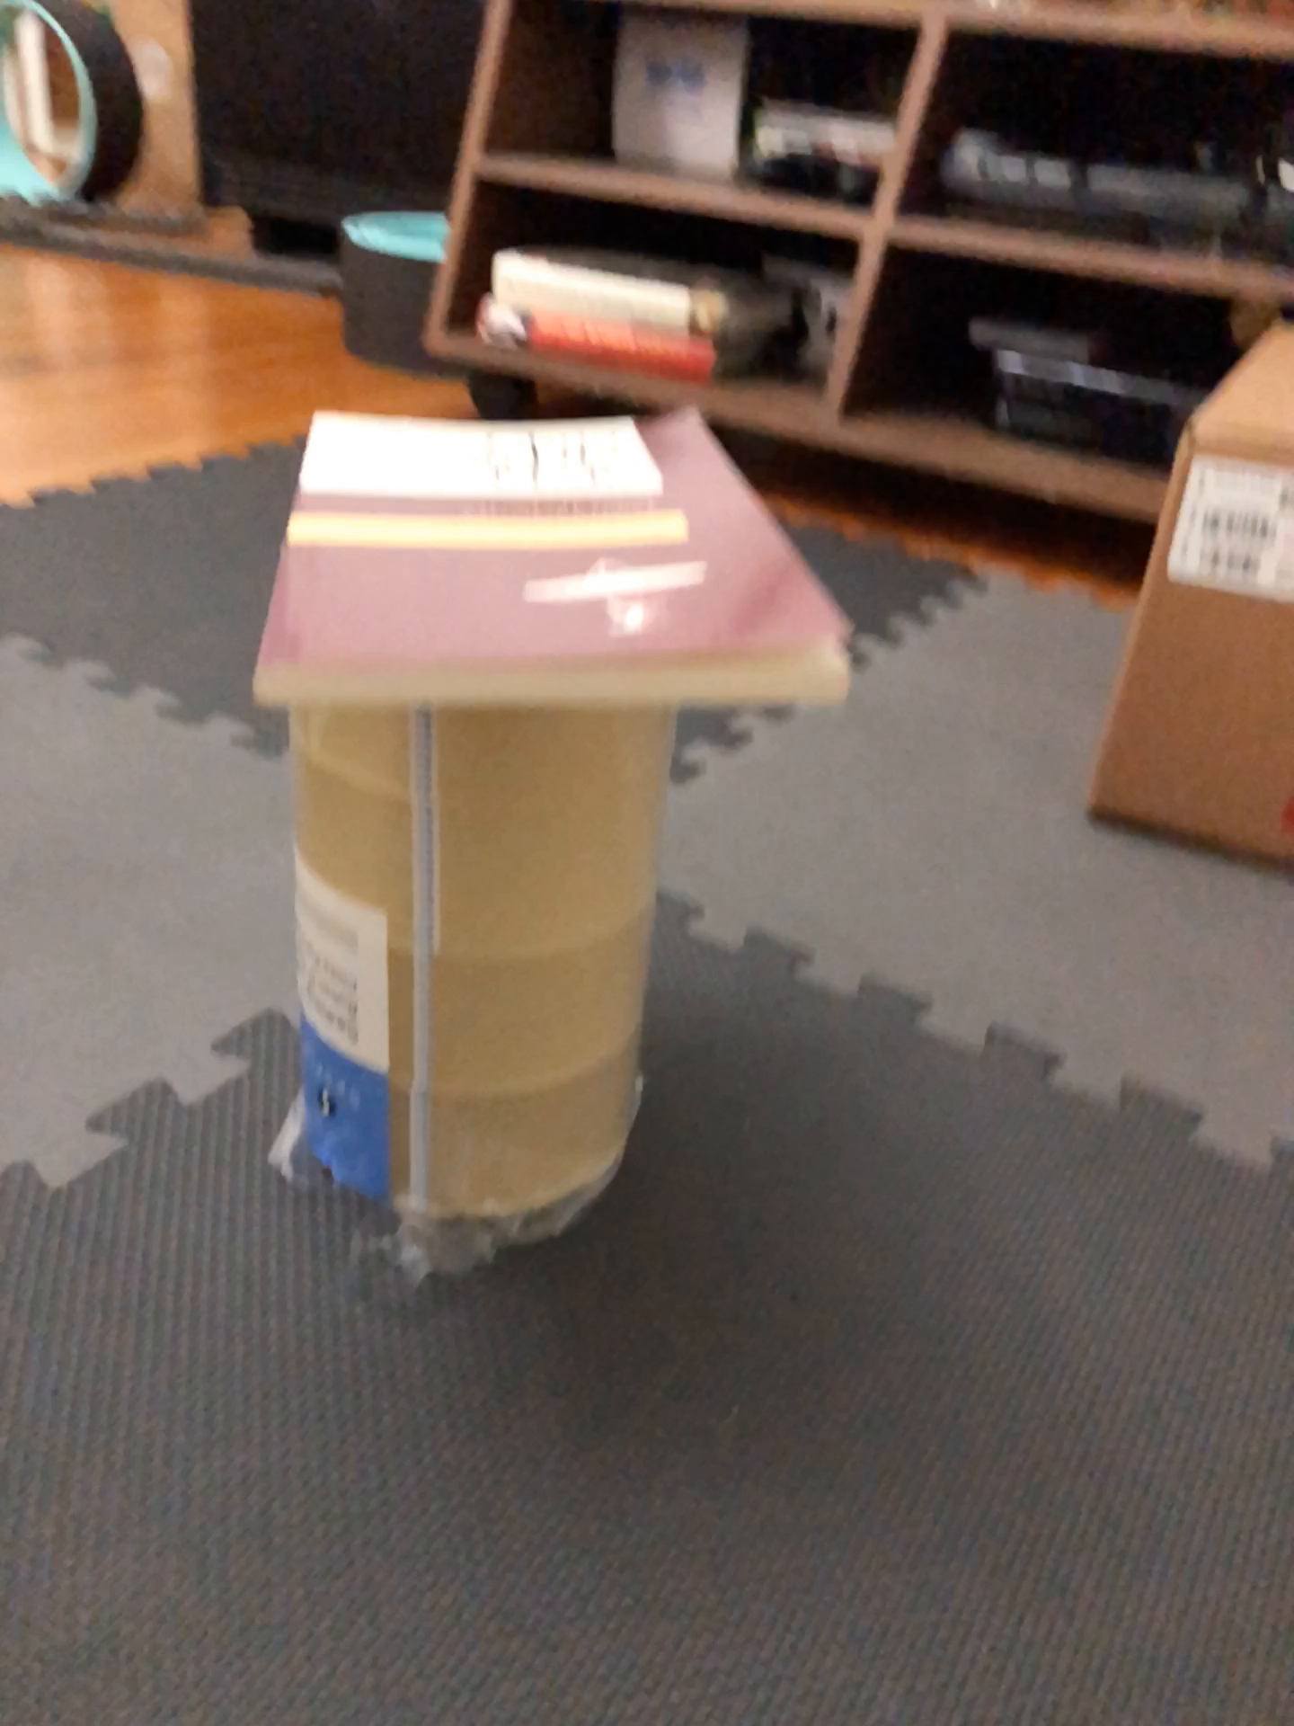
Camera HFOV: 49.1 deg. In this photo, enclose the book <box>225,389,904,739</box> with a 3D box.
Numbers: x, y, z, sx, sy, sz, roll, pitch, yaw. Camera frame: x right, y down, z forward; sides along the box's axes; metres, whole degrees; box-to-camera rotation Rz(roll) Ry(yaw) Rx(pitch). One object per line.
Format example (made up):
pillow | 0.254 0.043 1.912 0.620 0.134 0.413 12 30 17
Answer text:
book | -0.033 -0.089 0.384 0.140 0.020 0.211 -1 31 -11
